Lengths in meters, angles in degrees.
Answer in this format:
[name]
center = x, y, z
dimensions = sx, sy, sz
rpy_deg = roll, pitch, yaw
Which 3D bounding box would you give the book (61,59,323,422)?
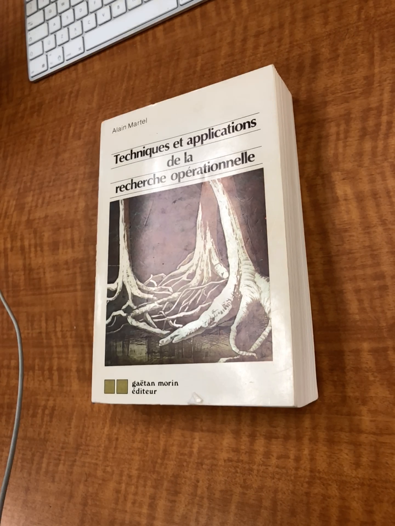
[book]
center = -0.008, -0.008, 0.334
dimensions = 0.170, 0.070, 0.230
rpy_deg = -8, 75, 26
